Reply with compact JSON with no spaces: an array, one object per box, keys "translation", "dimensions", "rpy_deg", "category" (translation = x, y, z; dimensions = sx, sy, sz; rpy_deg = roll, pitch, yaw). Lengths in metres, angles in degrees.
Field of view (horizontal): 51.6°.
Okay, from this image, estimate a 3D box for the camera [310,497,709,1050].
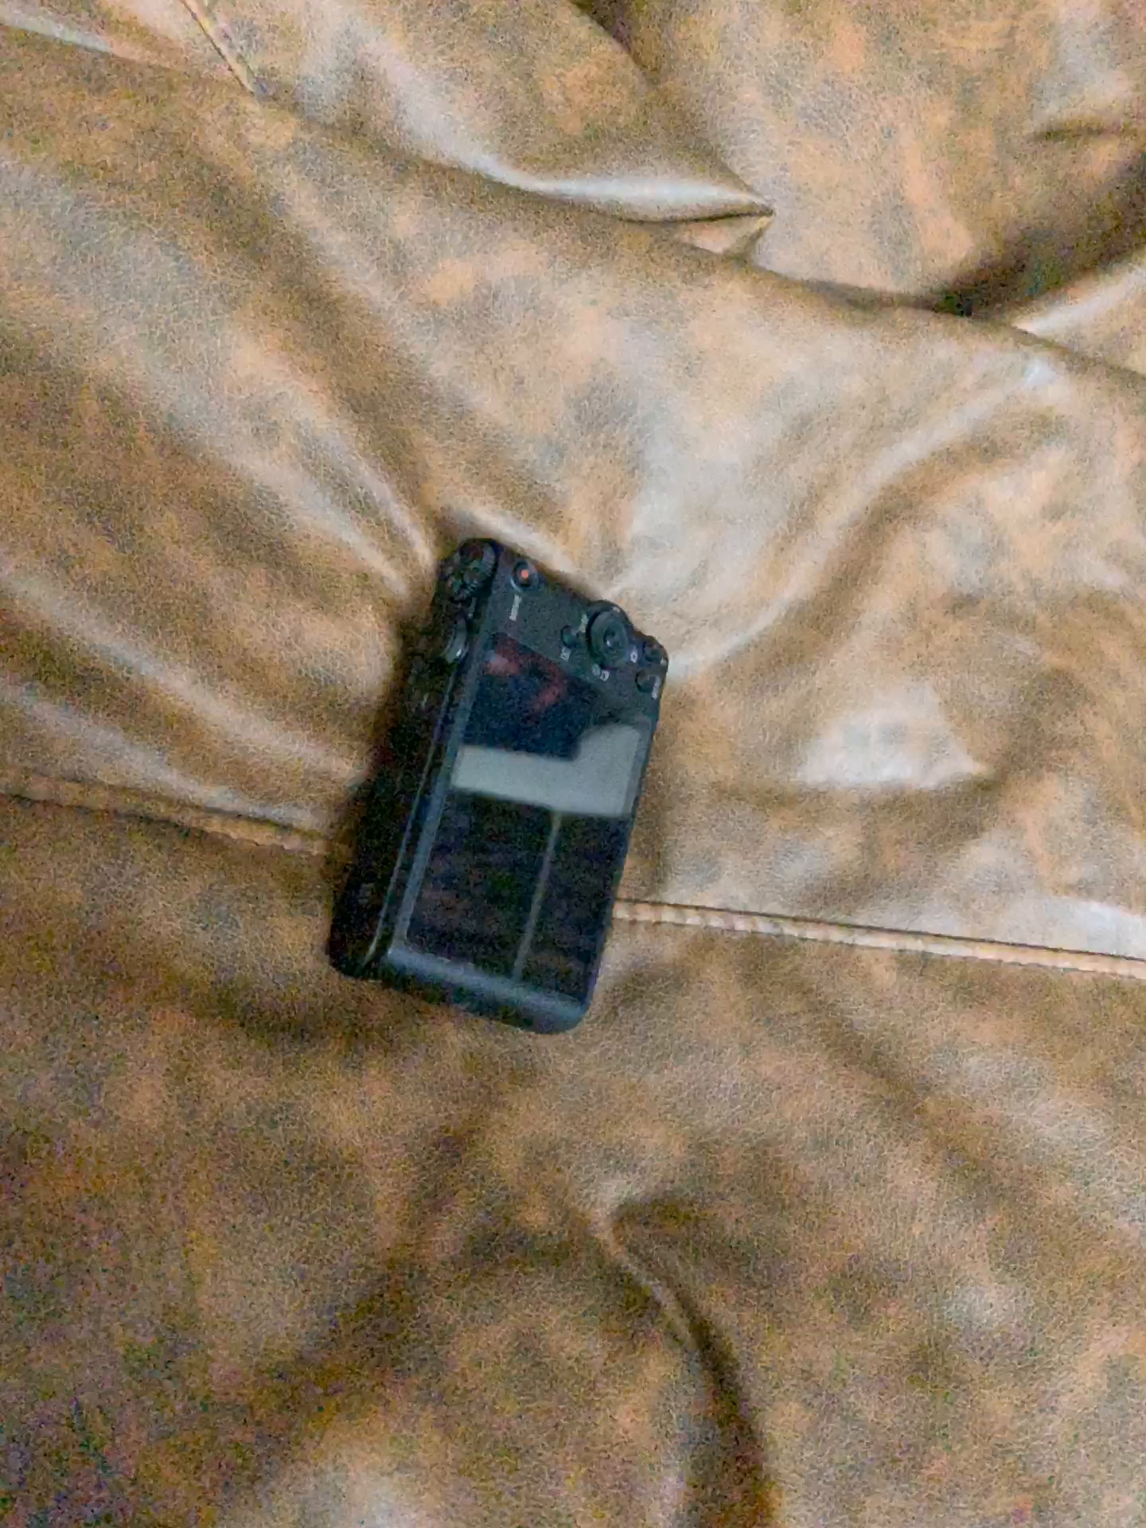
[{"translation":[-0.010,0.003,0.254],"dimensions":[0.060,0.024,0.100],"rpy_deg":[24,69,-30],"category":"camera"}]
